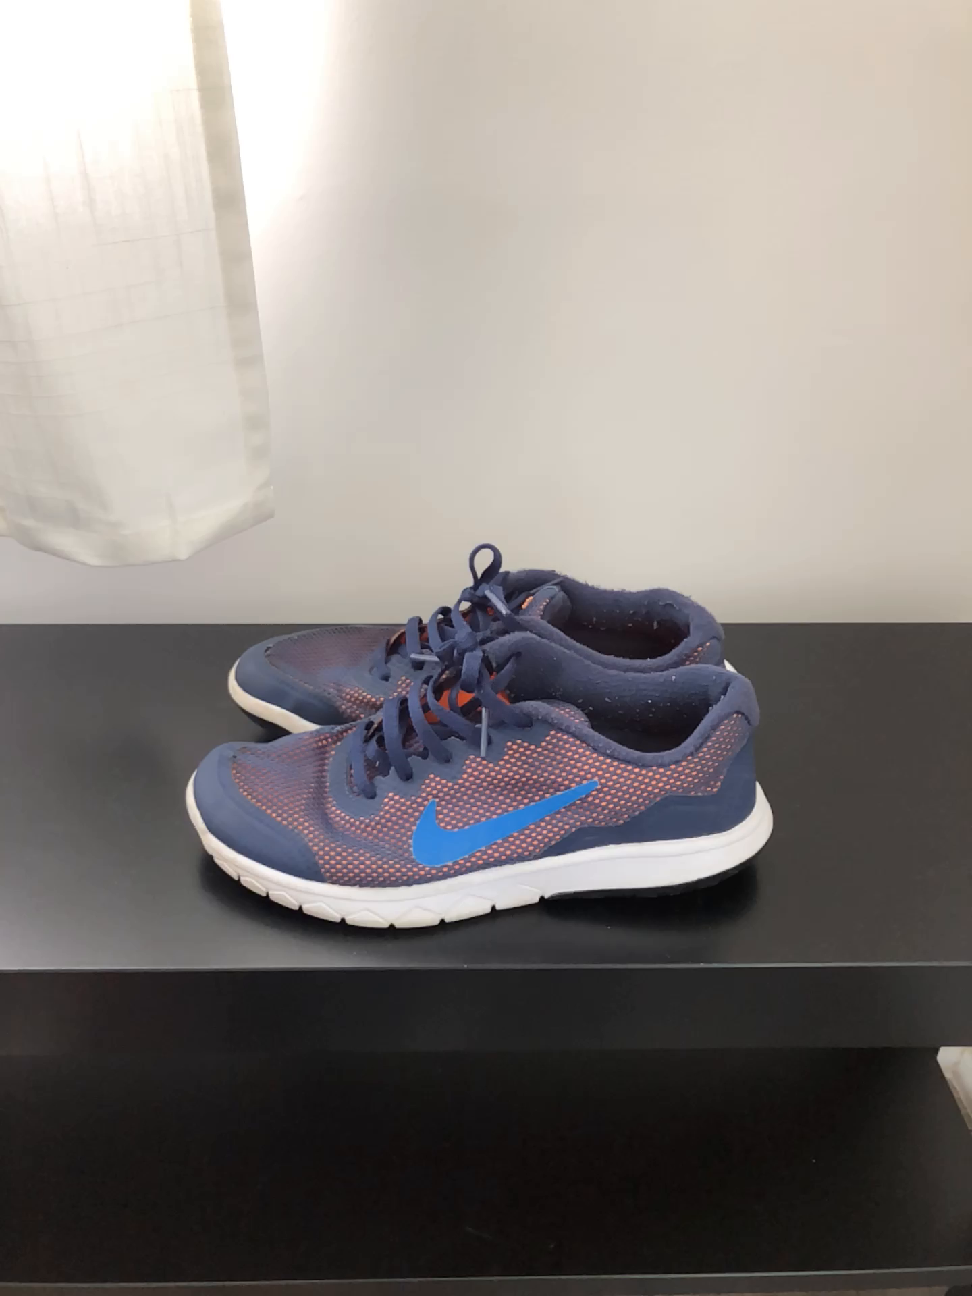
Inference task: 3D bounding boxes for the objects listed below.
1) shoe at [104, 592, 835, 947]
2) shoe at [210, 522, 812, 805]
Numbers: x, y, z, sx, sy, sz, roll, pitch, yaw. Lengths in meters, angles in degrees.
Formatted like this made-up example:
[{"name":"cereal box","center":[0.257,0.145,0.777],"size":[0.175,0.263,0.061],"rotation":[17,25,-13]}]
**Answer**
[{"name":"shoe","center":[-0.008,0.046,0.456],"size":[0.260,0.089,0.121],"rotation":[-1,31,-3]},{"name":"shoe","center":[0.011,0.004,0.529],"size":[0.260,0.089,0.100],"rotation":[2,31,2]}]
